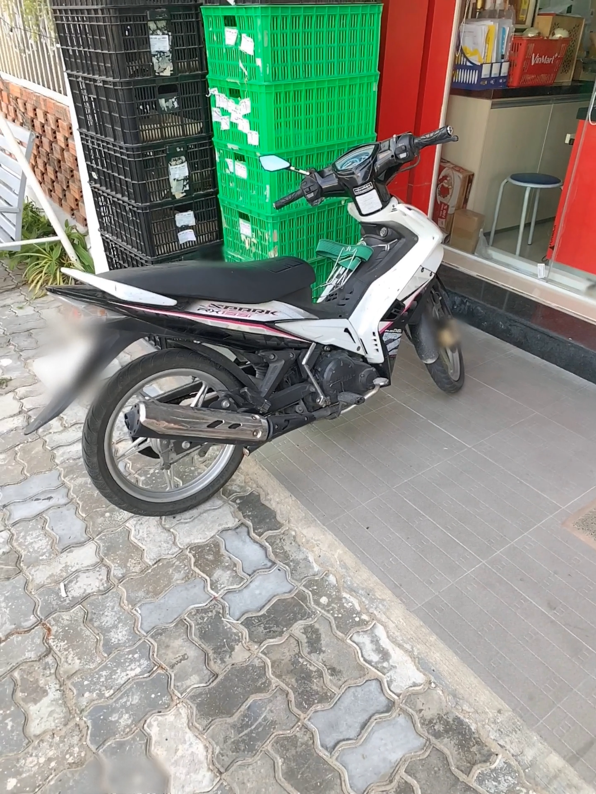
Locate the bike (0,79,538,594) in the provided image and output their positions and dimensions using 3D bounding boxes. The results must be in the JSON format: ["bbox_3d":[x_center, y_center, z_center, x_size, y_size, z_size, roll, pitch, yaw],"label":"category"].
[{"bbox_3d":[-0.007,-0.400,2.262,1.818,1.186,0.669,-26,41,-34],"label":"bike"}]
